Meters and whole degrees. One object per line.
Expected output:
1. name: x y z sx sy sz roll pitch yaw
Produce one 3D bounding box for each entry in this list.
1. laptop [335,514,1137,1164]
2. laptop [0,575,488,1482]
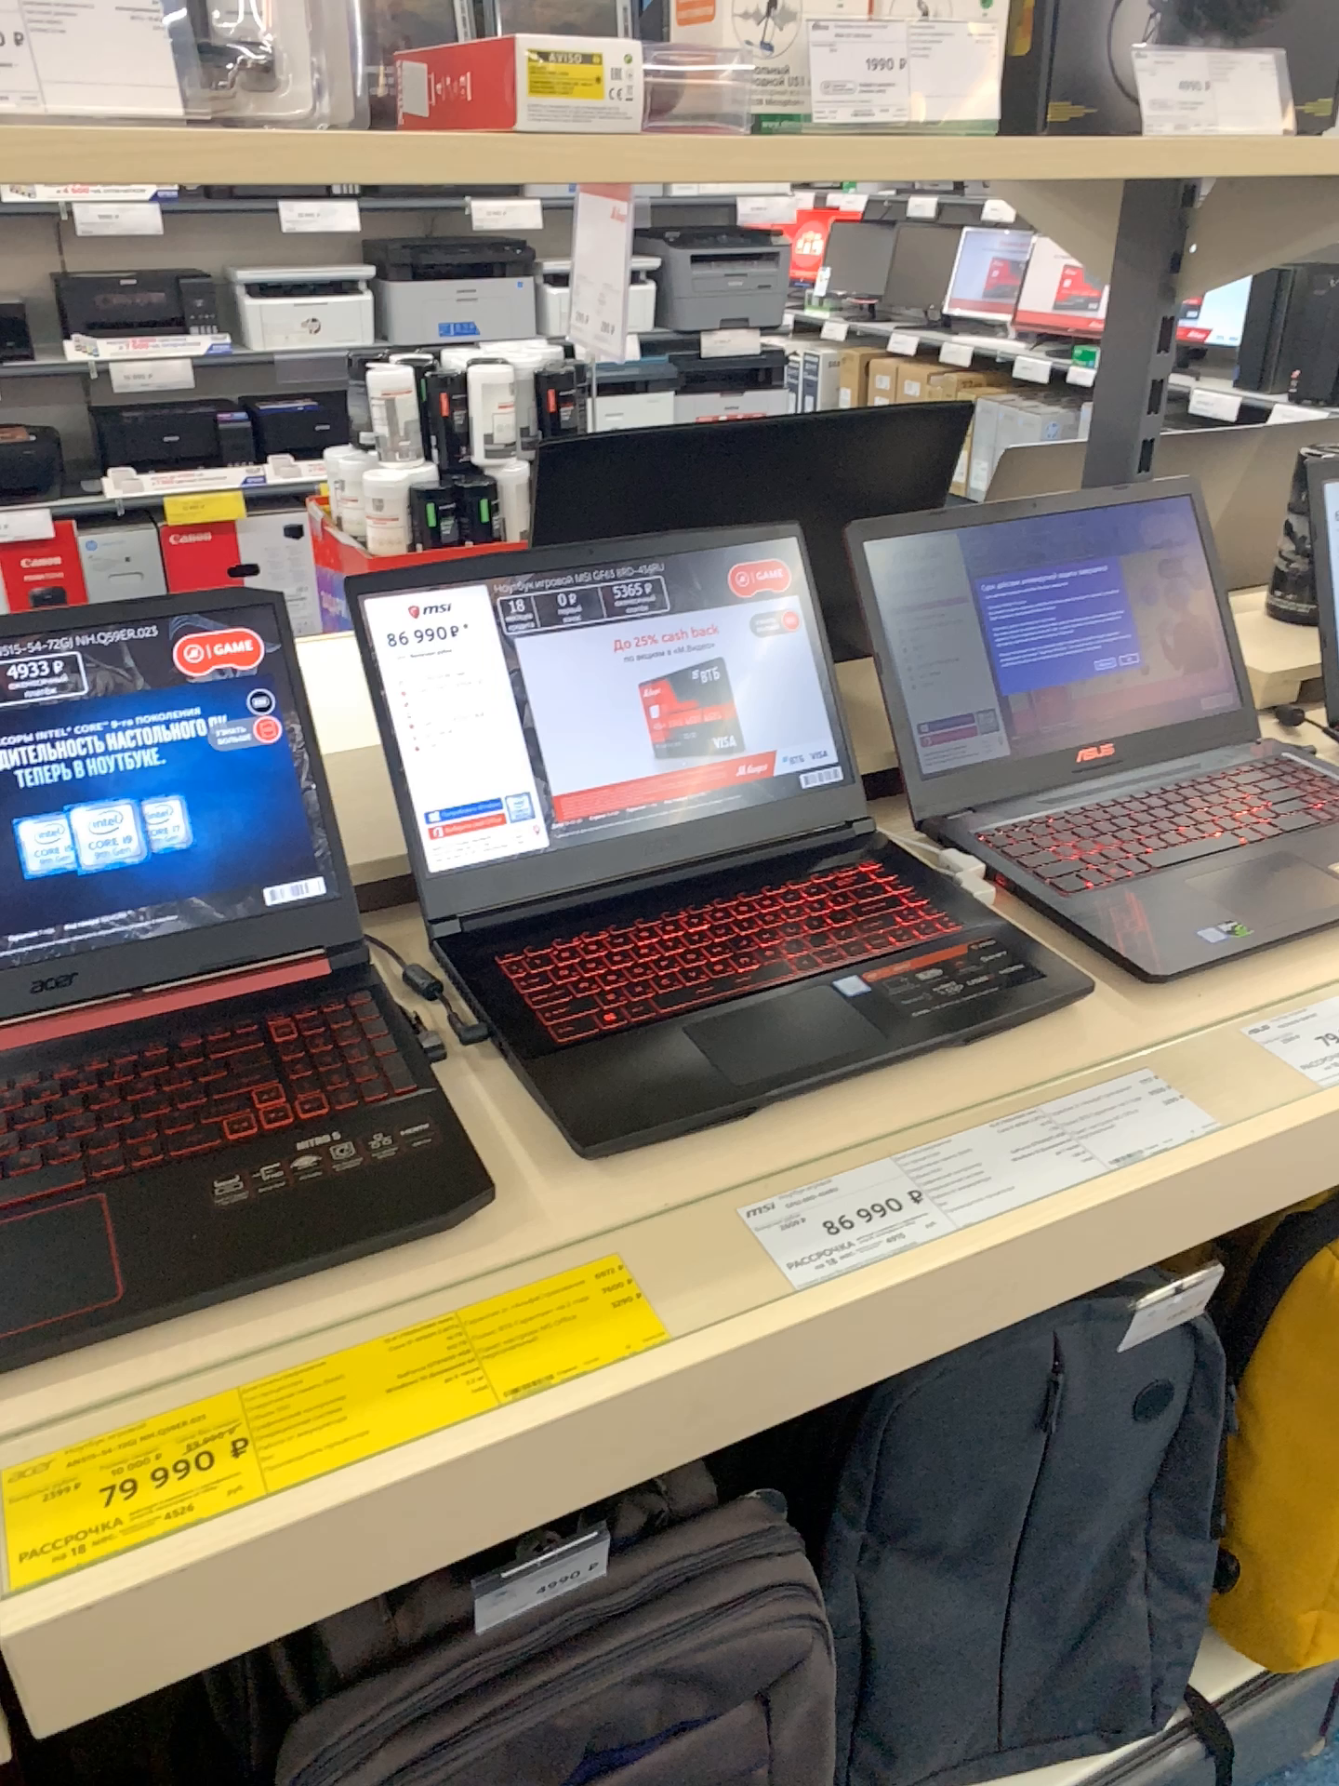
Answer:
1. laptop: 0.021 -0.075 0.872 0.351 0.204 0.371 -14 33 -25
2. laptop: -0.313 0.013 0.696 0.334 0.211 0.373 -13 31 -23
